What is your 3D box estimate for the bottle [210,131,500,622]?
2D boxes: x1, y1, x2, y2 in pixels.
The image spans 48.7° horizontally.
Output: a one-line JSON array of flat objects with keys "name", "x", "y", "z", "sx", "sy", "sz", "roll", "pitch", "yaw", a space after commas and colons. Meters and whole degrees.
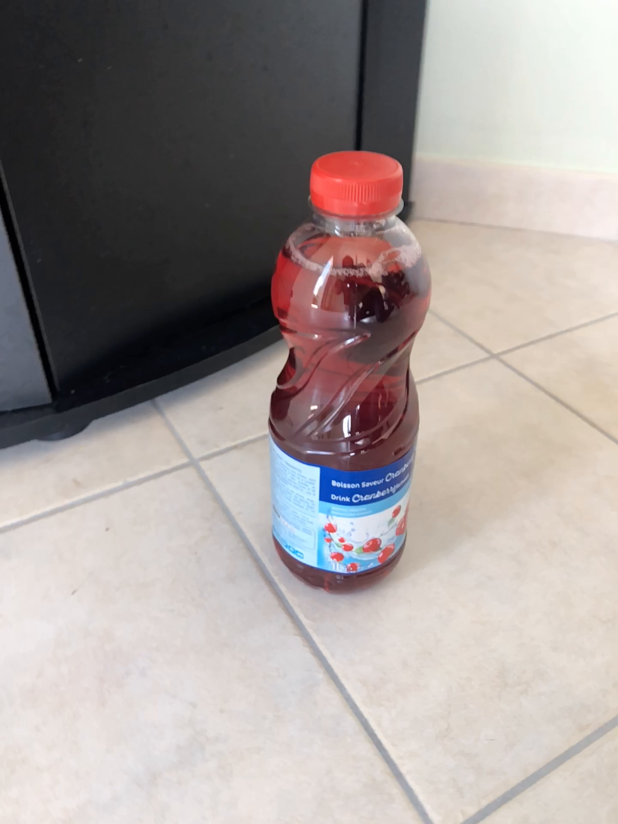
[{"name": "bottle", "x": 0.016, "y": -0.013, "z": 0.378, "sx": 0.090, "sy": 0.239, "sz": 0.100, "roll": -18, "pitch": 41, "yaw": -23}]
